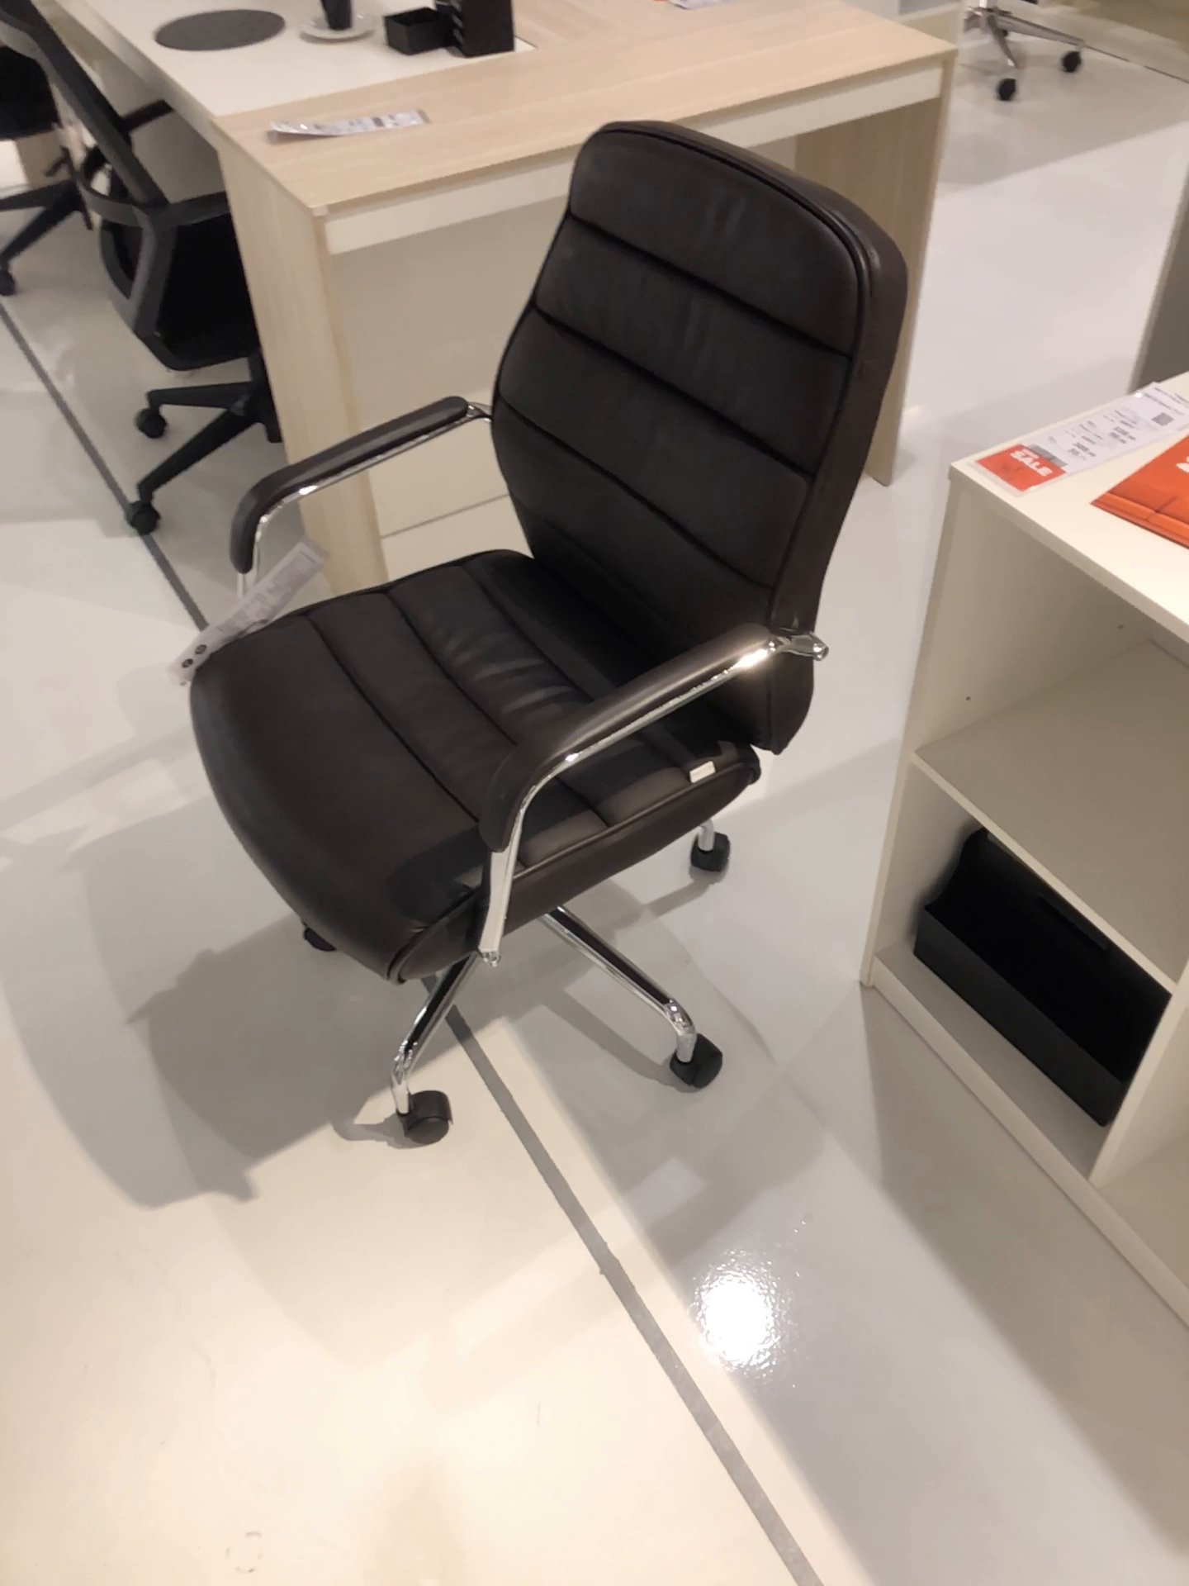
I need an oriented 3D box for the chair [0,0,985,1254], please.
[{"bbox_3d":[-0.123,-0.157,1.359,0.571,0.973,0.653,-27,50,-22],"label":"chair"}]
